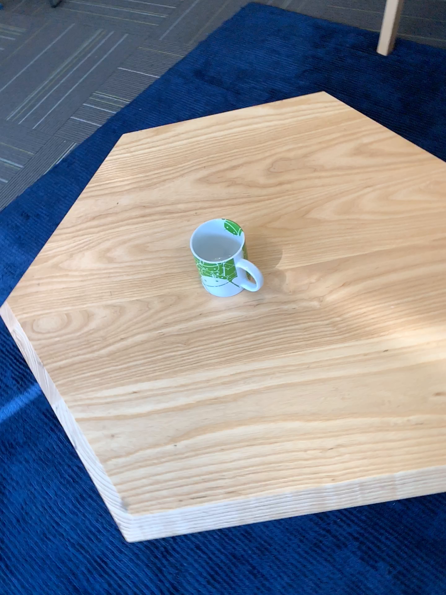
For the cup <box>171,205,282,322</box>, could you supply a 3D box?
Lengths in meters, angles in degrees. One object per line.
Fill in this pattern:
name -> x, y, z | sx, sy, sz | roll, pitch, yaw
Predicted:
cup -> 0.008, -0.050, 0.666 | 0.120, 0.090, 0.090 | 36, 71, 26
